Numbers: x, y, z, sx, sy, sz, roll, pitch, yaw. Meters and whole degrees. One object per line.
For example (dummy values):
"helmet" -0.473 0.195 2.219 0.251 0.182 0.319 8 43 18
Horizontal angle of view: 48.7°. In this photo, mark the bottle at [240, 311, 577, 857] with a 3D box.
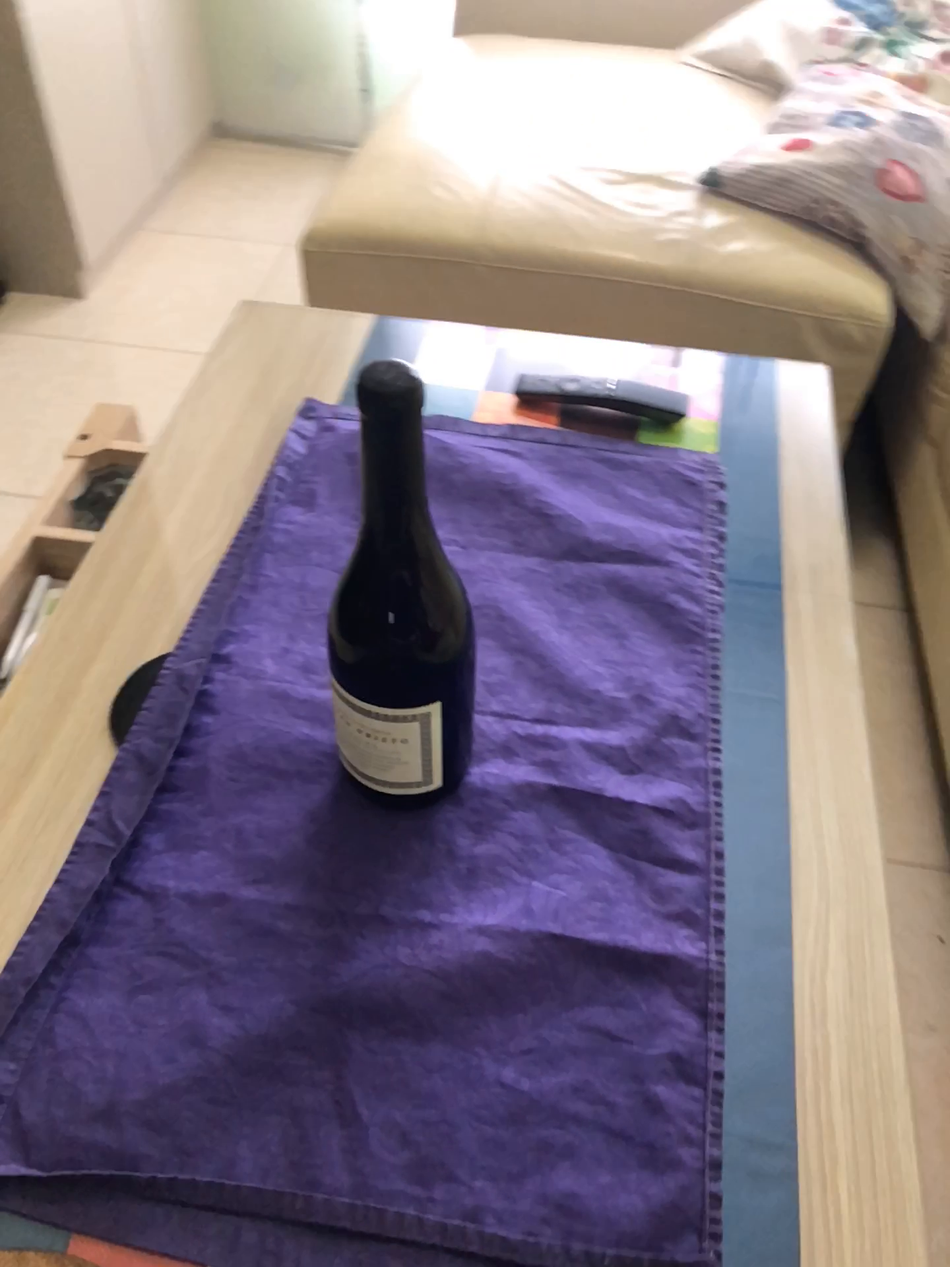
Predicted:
"bottle" -0.033 -0.015 0.559 0.110 0.259 0.100 1 46 -1
